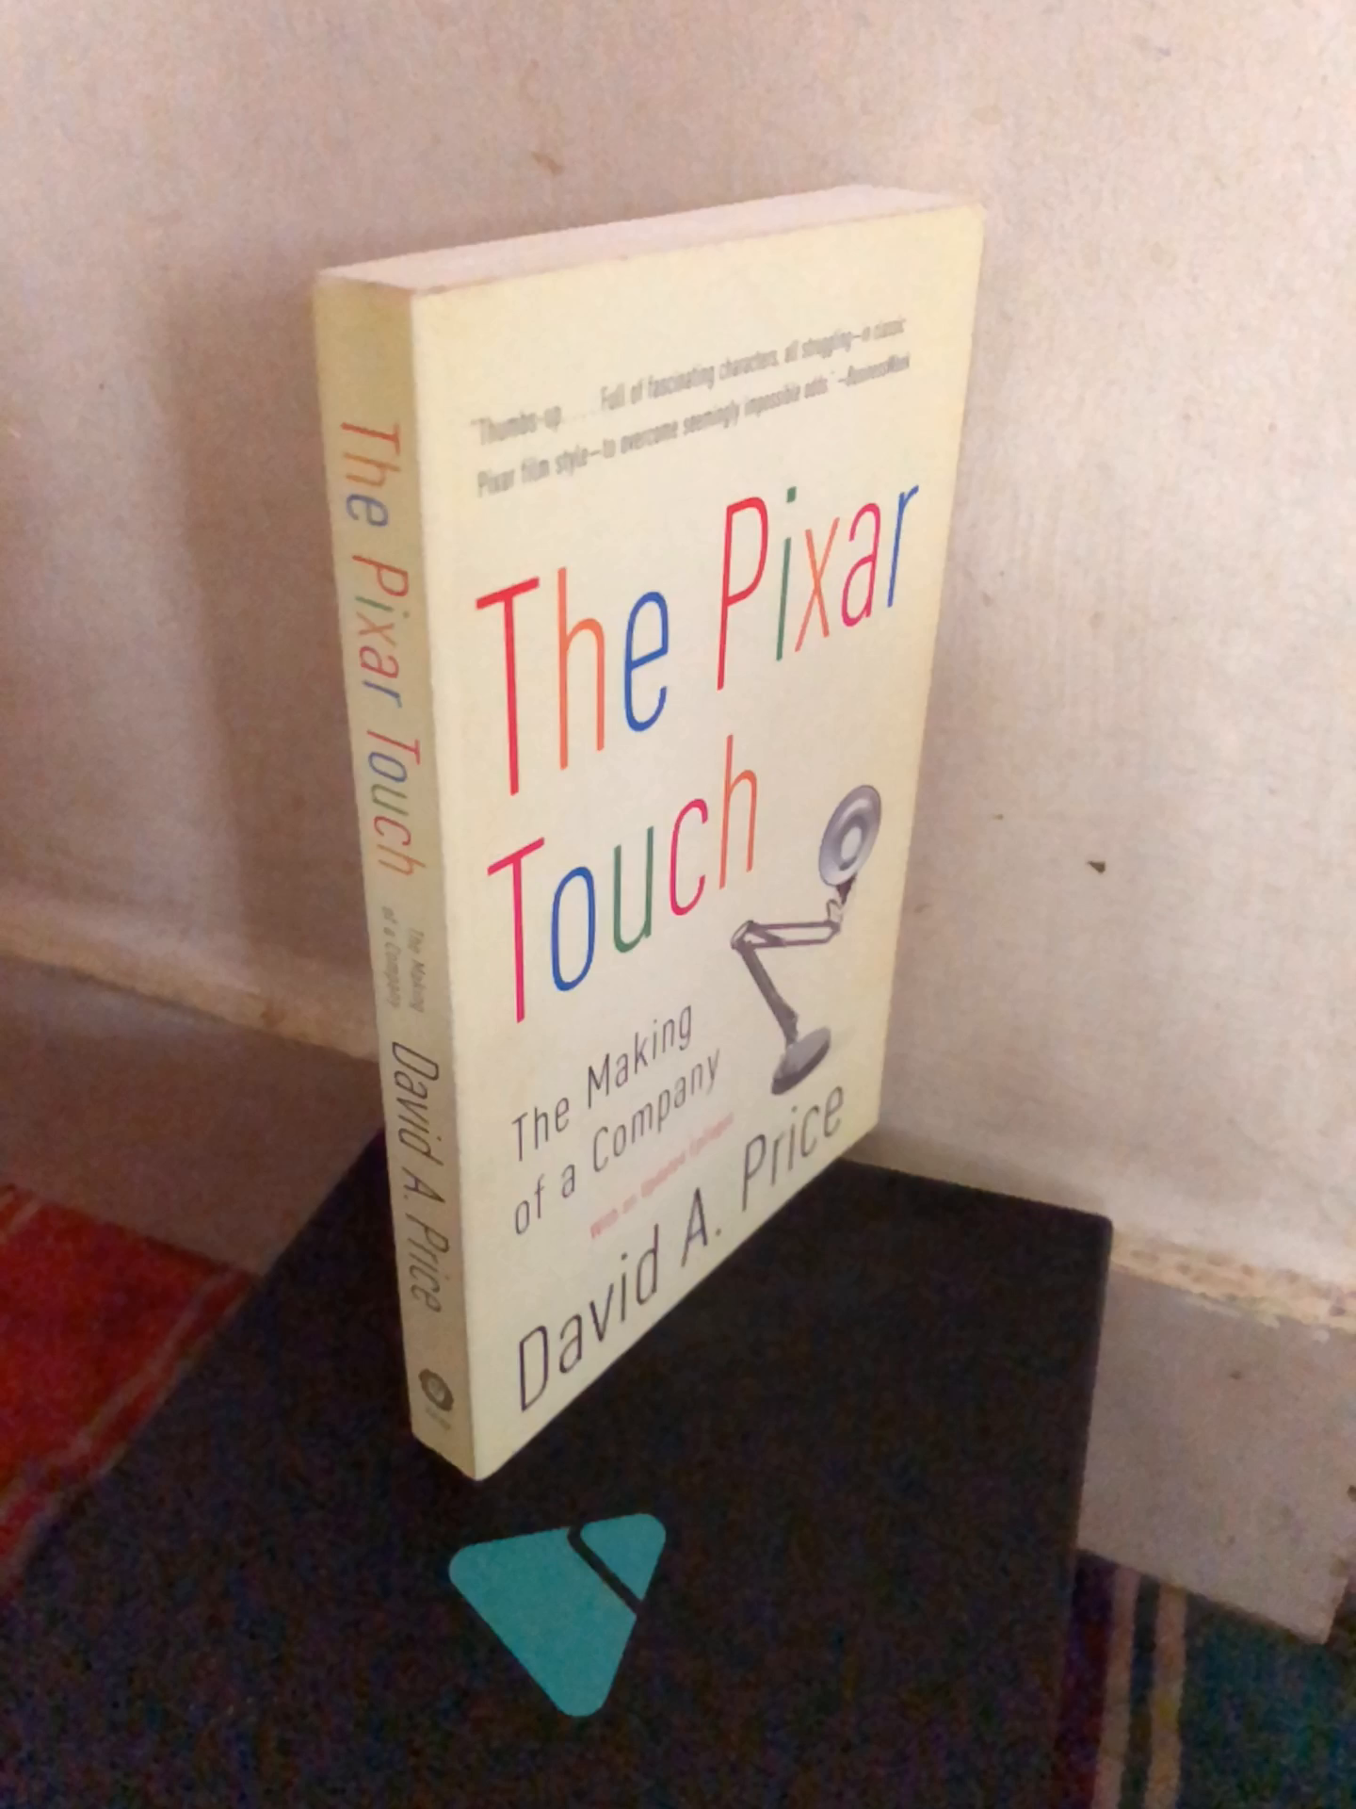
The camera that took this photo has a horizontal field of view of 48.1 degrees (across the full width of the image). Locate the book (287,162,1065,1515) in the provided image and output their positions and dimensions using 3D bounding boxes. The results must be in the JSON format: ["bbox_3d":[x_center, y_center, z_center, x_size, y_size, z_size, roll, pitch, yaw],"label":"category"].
[{"bbox_3d":[0.006,-0.014,0.264,0.030,0.199,0.141,23,36,31],"label":"book"}]
